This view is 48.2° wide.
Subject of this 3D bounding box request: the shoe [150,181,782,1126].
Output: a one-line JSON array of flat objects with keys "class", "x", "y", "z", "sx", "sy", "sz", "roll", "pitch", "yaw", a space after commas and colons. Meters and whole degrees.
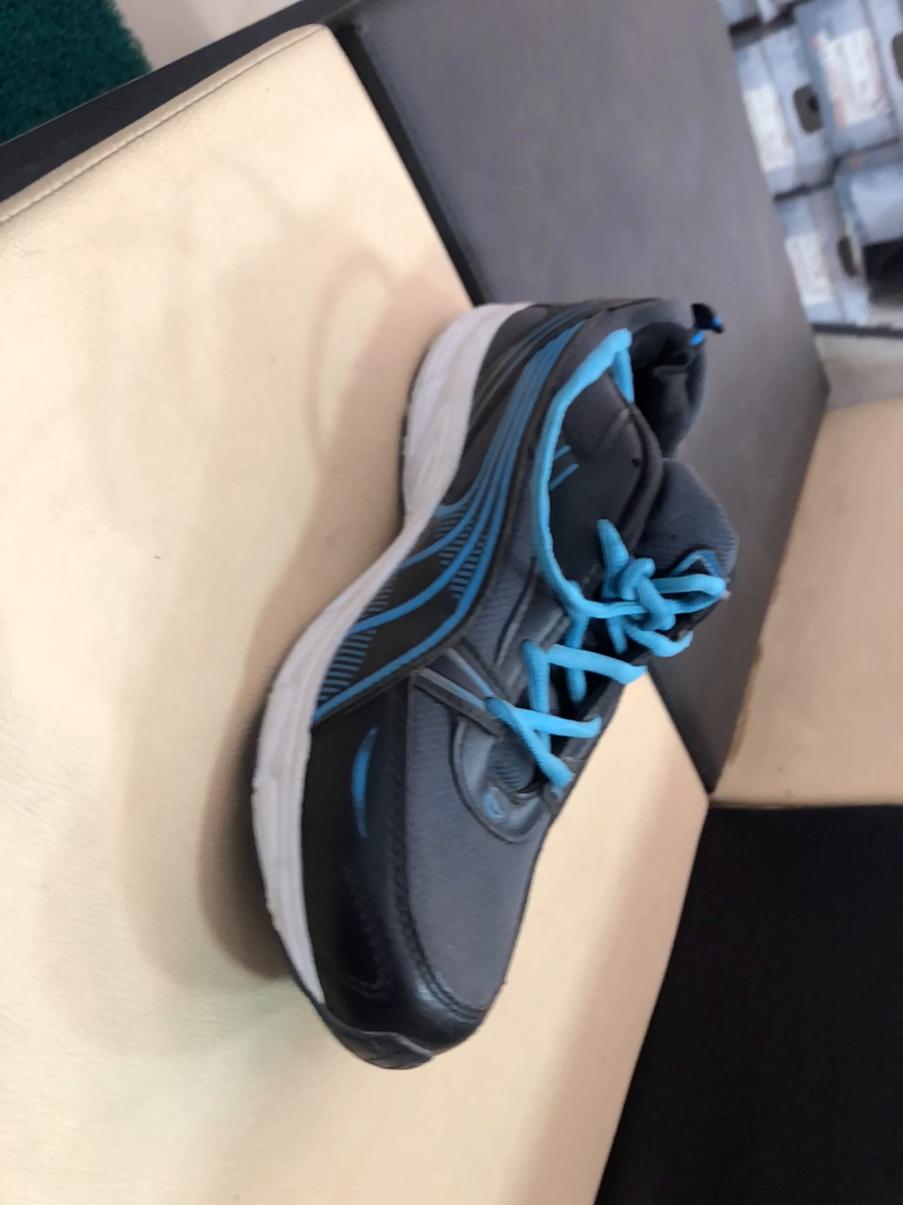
[{"class": "shoe", "x": 0.027, "y": 0.003, "z": 0.329, "sx": 0.101, "sy": 0.099, "sz": 0.271, "roll": 48, "pitch": 49, "yaw": -40}]
